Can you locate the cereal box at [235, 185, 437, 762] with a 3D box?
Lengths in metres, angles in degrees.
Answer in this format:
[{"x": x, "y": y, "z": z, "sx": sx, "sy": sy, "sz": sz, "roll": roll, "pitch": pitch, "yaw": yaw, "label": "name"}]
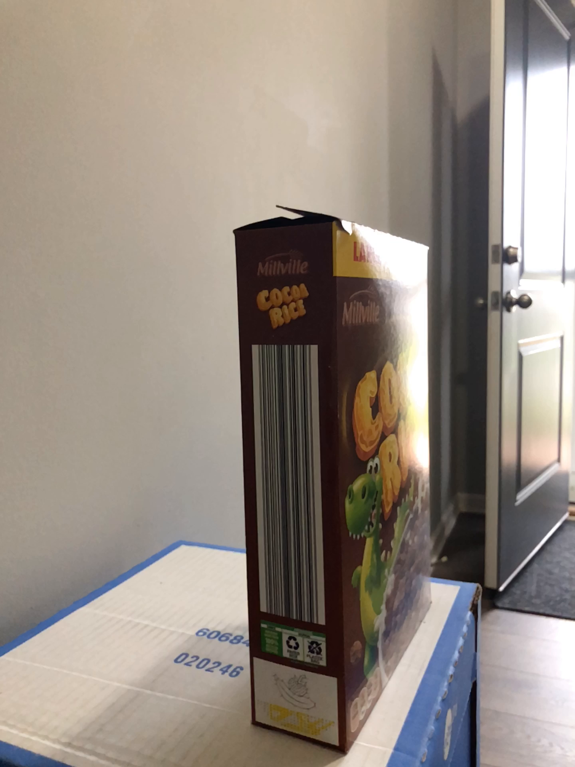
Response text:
[{"x": 0.046, "y": 0.039, "z": 0.418, "sx": 0.060, "sy": 0.290, "sz": 0.200, "roll": 1, "pitch": 7, "yaw": 25, "label": "cereal box"}]
